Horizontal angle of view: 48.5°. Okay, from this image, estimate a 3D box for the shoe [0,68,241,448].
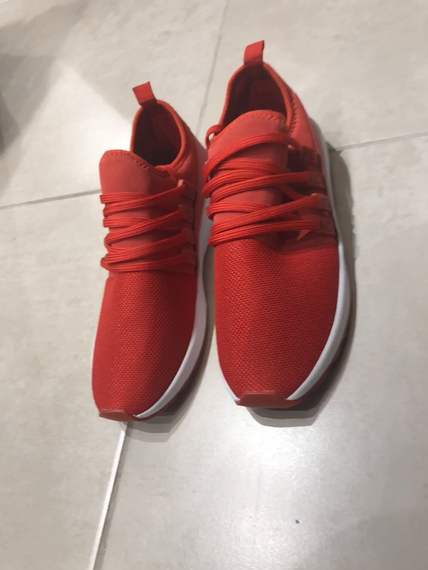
[{"bbox_3d":[-0.064,-0.023,0.398,0.100,0.139,0.271,-4,59,24],"label":"shoe"}]

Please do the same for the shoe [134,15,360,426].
[{"bbox_3d":[0.040,-0.047,0.364,0.100,0.139,0.271,-8,57,22],"label":"shoe"}]
